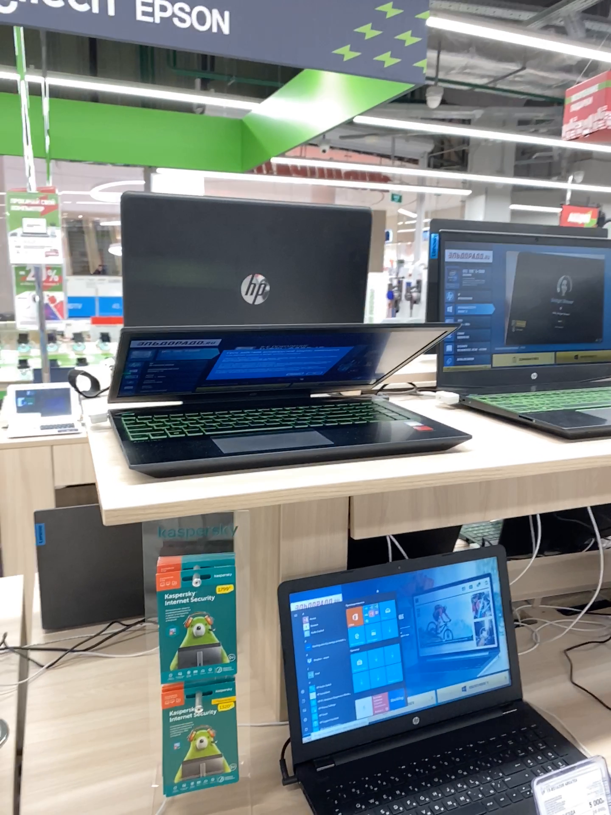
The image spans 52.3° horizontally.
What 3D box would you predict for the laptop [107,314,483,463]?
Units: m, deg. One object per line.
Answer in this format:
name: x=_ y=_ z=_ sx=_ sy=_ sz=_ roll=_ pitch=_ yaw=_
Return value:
laptop: x=-0.028 y=-0.038 z=0.718 sx=0.364 sy=0.115 sz=0.244 roll=-2 pitch=12 yaw=-21
